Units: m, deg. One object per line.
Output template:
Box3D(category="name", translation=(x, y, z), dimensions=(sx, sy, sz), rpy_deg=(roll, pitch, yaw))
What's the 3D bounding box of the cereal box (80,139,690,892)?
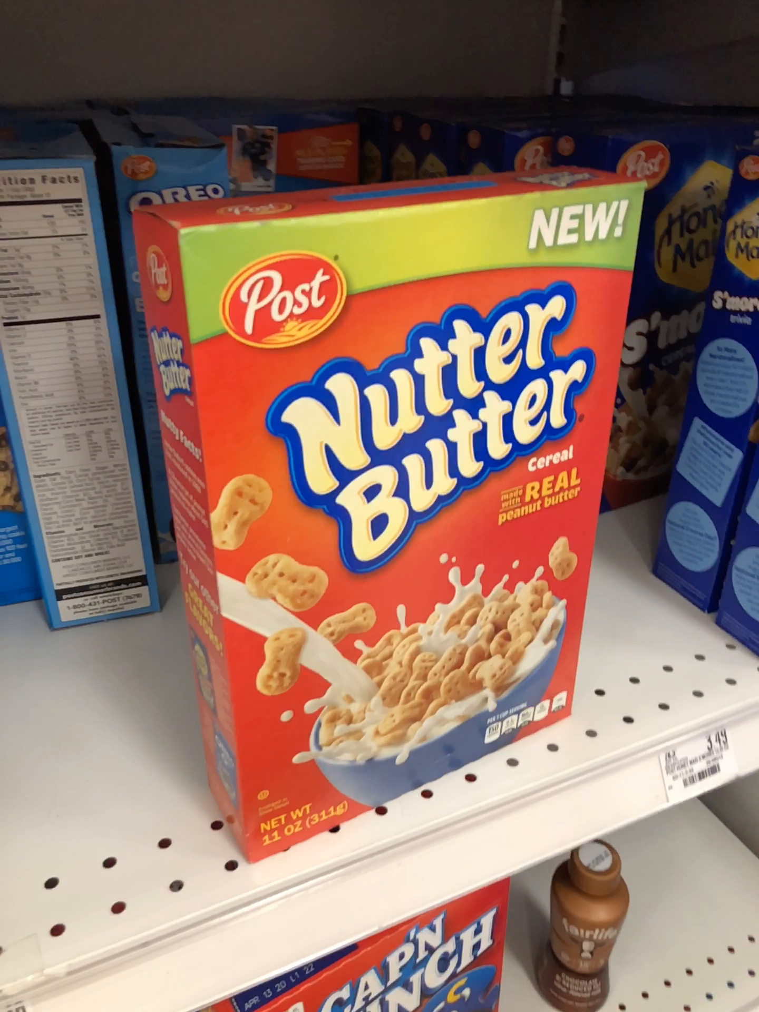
Box3D(category="cereal box", translation=(0.008, 0.001, 0.351), dimensions=(0.200, 0.269, 0.070), rpy_deg=(-16, 32, -26))
